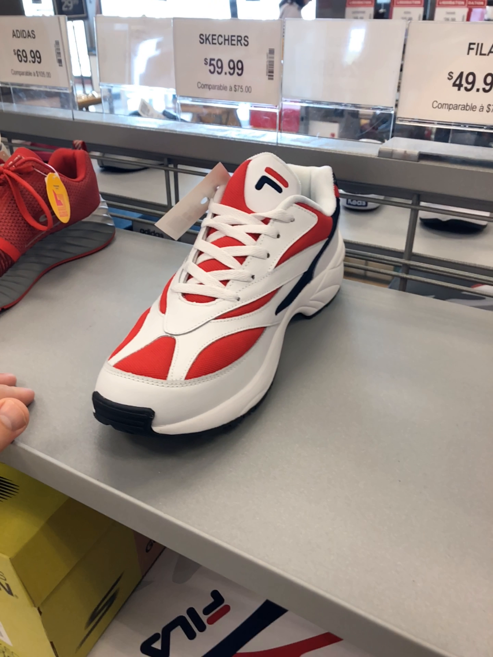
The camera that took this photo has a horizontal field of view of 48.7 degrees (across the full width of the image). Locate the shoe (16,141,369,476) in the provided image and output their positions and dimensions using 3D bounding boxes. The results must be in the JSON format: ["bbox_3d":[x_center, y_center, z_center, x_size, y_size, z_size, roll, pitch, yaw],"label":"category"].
[{"bbox_3d":[-0.013,-0.044,0.420,0.120,0.129,0.272,16,35,25],"label":"shoe"}]
